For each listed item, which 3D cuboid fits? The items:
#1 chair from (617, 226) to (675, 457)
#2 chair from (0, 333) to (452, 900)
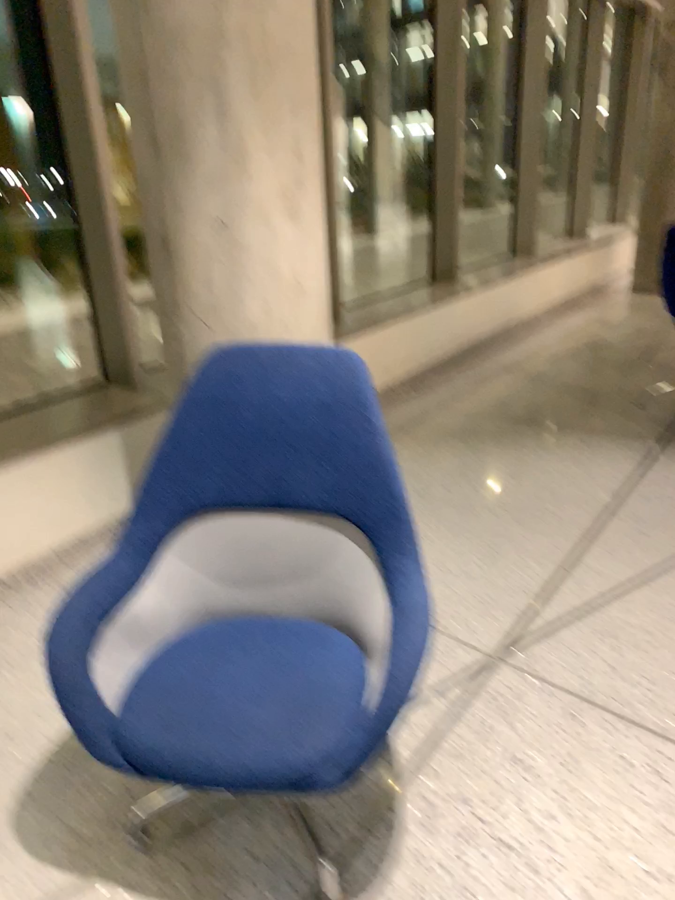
[{"bbox_3d":[1.774,-0.512,3.082,0.694,0.855,0.683,-3,22,0],"label":"chair"},{"bbox_3d":[-0.170,0.309,1.480,0.715,0.963,0.638,4,23,17],"label":"chair"}]
